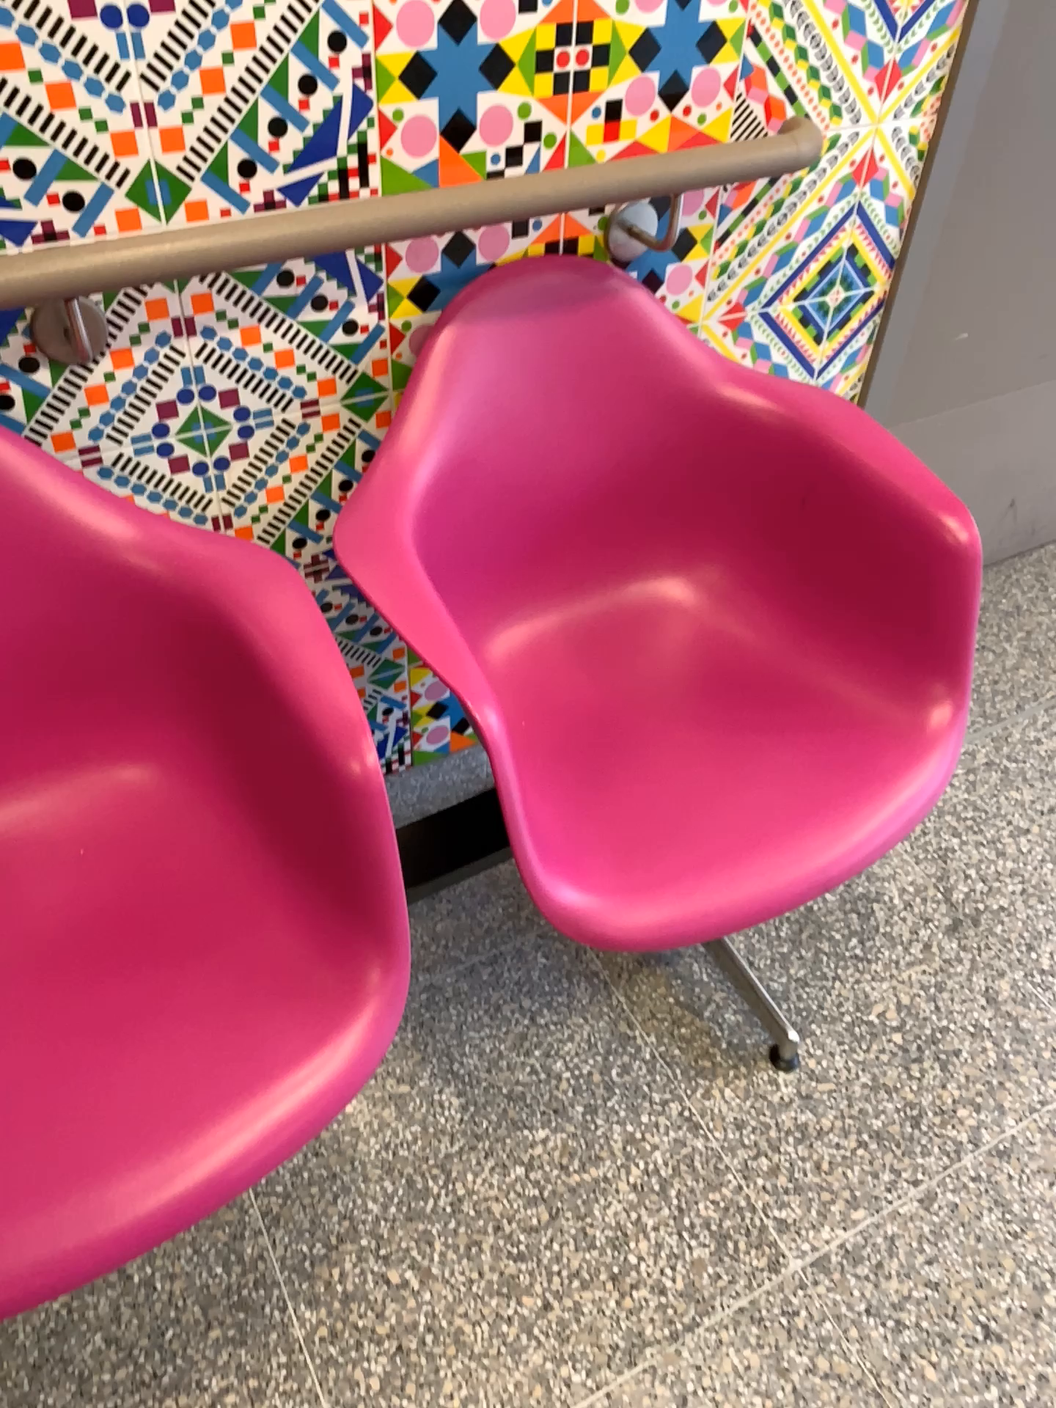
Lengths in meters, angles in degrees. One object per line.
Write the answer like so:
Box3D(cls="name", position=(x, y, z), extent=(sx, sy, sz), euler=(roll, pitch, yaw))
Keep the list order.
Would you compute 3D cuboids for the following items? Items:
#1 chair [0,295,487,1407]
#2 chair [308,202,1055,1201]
Box3D(cls="chair", position=(-0.406, 0.186, 0.927), extent=(0.521, 0.763, 0.605), euler=(-19, 48, -21))
Box3D(cls="chair", position=(0.151, -0.010, 1.174), extent=(0.521, 0.763, 0.605), euler=(-19, 48, -21))
